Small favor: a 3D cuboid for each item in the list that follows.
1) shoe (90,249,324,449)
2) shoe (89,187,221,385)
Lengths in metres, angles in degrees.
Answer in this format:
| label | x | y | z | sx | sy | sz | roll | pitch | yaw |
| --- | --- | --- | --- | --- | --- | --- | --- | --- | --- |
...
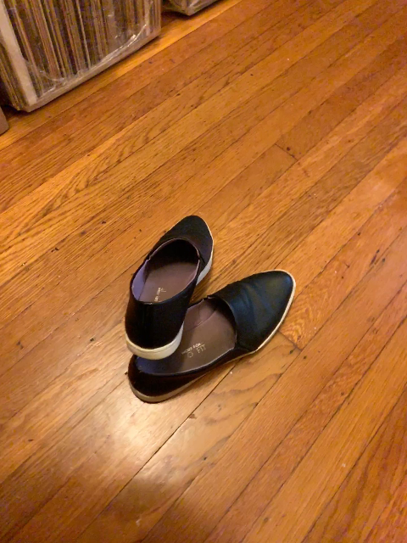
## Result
| label | x | y | z | sx | sy | sz | roll | pitch | yaw |
| --- | --- | --- | --- | --- | --- | --- | --- | --- | --- |
| shoe | 0.007 | 0.091 | 0.516 | 0.260 | 0.080 | 0.100 | -31 | 69 | -18 |
| shoe | -0.048 | 0.001 | 0.515 | 0.100 | 0.080 | 0.251 | 11 | 41 | 1 |
